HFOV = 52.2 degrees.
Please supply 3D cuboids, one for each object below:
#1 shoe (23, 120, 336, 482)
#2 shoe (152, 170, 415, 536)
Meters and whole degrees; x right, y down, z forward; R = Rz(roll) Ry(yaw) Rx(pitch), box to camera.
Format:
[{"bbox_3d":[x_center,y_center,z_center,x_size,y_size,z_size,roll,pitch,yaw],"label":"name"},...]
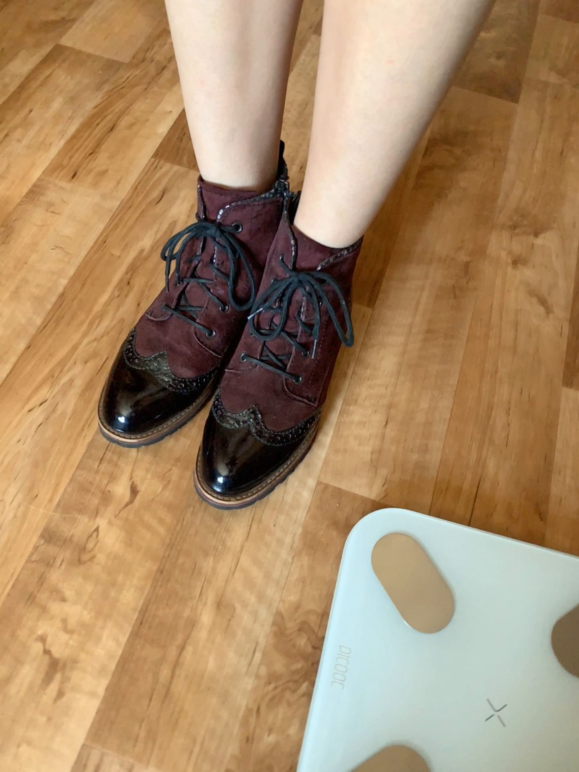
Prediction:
[{"bbox_3d":[-0.074,-0.073,0.499,0.100,0.140,0.260,28,62,9],"label":"shoe"},{"bbox_3d":[0.001,-0.030,0.501,0.100,0.140,0.260,23,62,6],"label":"shoe"}]
